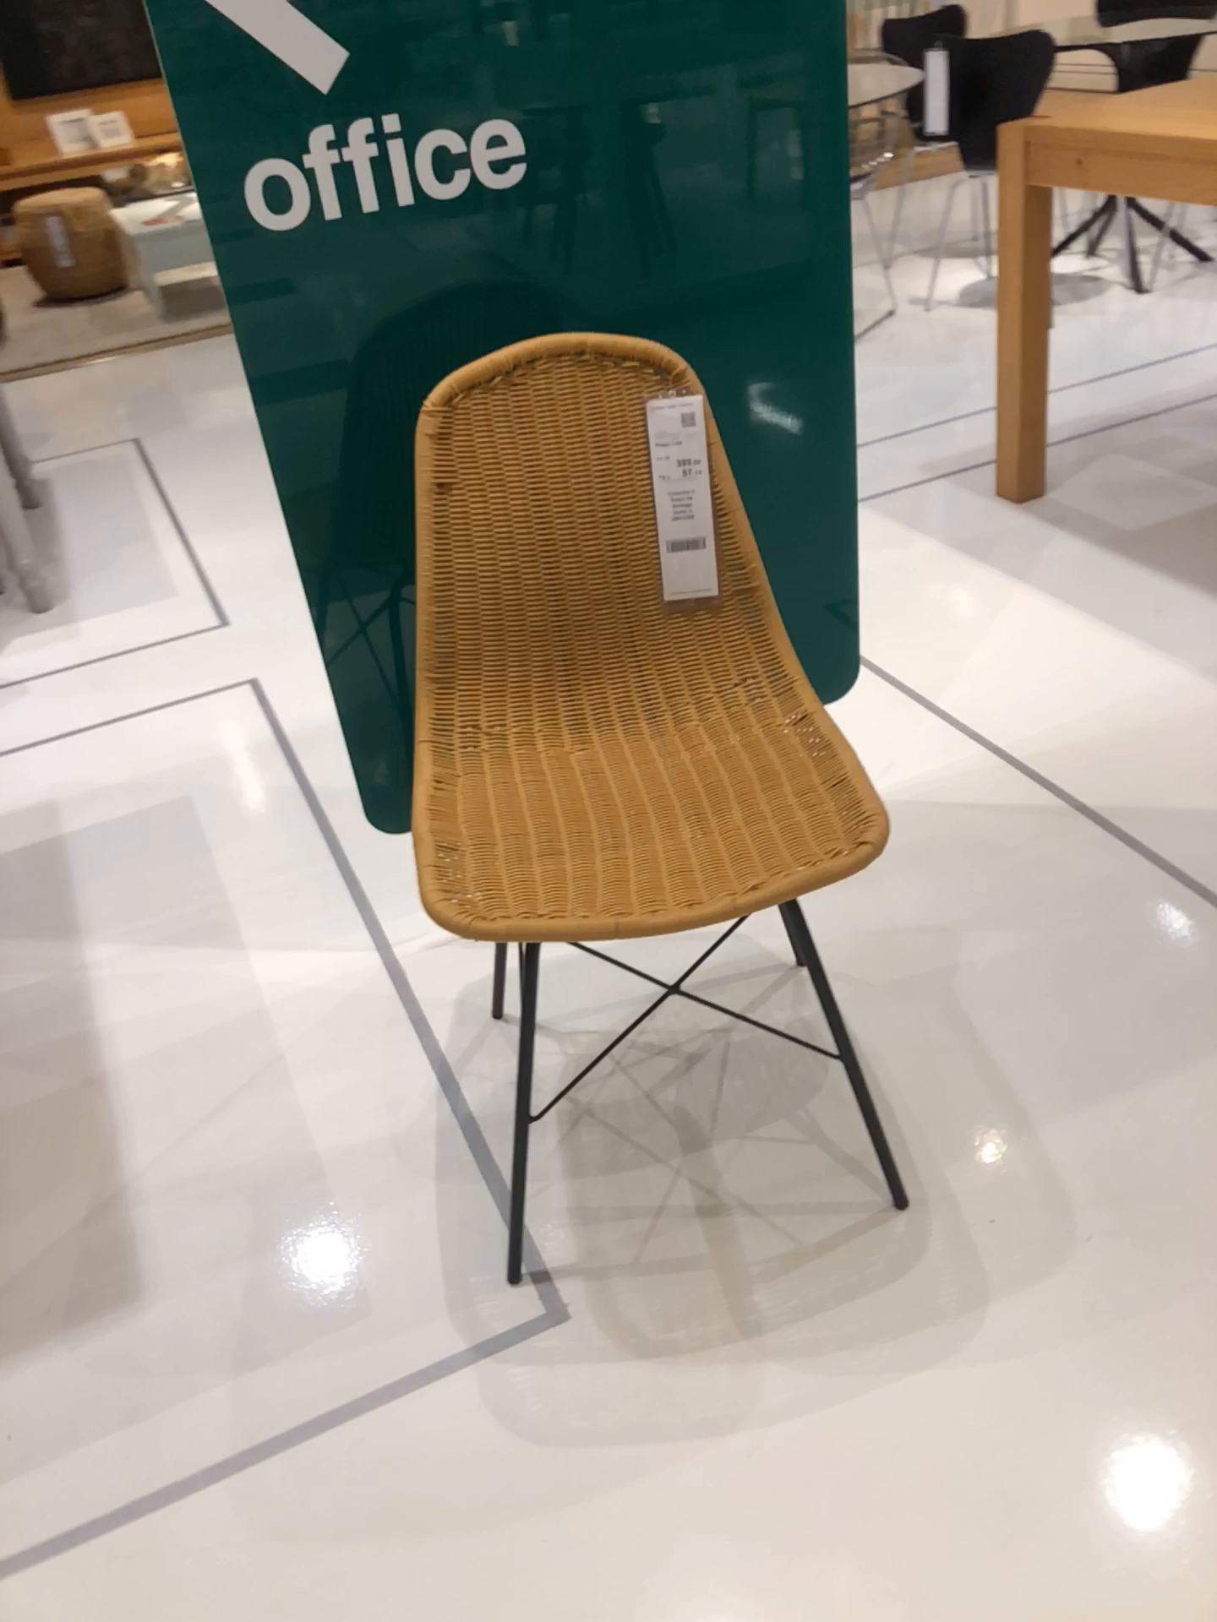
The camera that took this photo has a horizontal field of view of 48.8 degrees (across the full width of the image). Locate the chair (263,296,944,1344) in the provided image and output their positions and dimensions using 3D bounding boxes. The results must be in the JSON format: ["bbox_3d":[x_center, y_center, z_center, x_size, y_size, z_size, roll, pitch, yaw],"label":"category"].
[{"bbox_3d":[0.014,0.002,1.420,0.490,0.863,0.574,-10,33,-3],"label":"chair"}]
